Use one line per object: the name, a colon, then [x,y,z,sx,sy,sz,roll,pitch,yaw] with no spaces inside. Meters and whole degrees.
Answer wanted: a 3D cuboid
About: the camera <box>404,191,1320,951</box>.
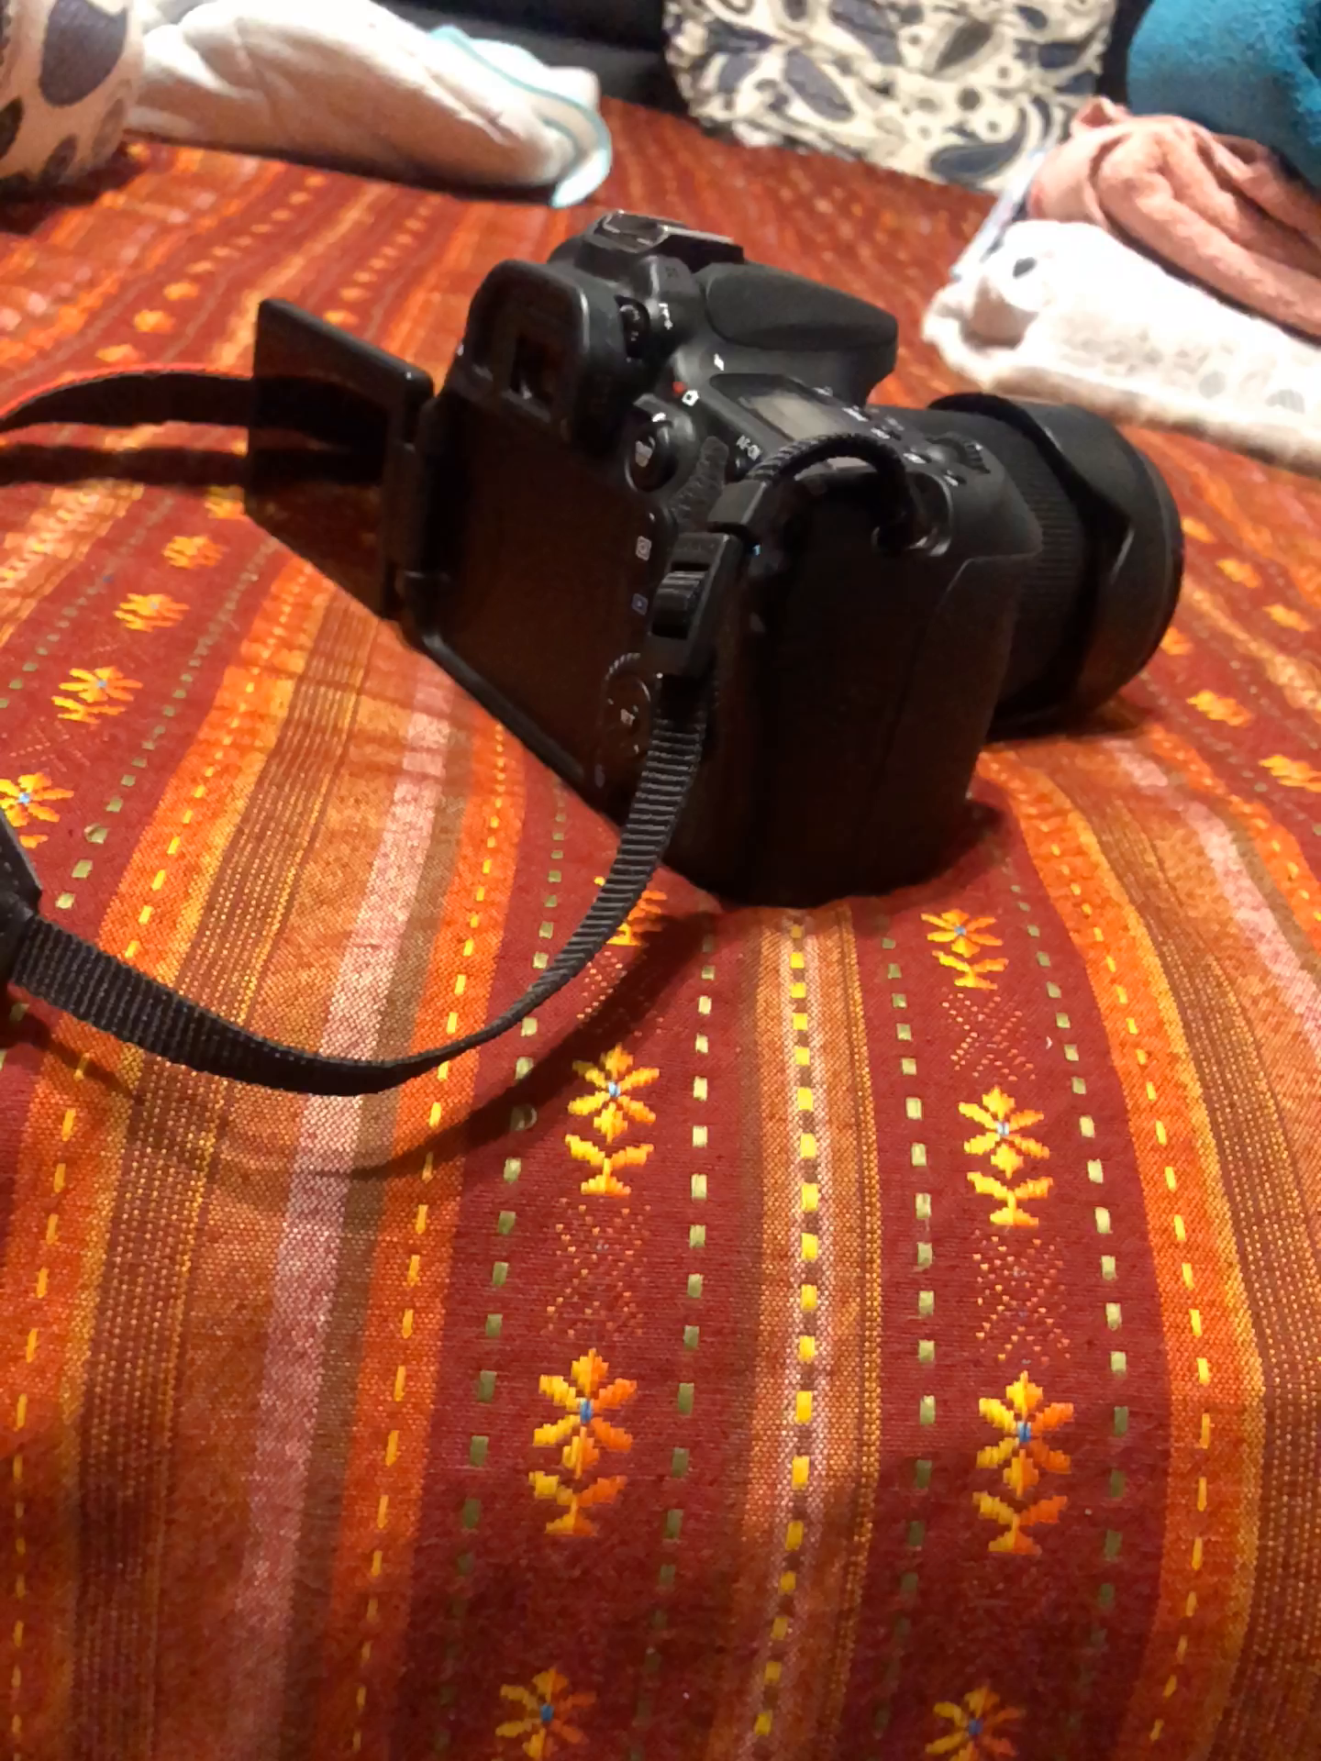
camera: [0.054,-0.080,0.331,0.171,0.099,0.131,-14,40,-36]
